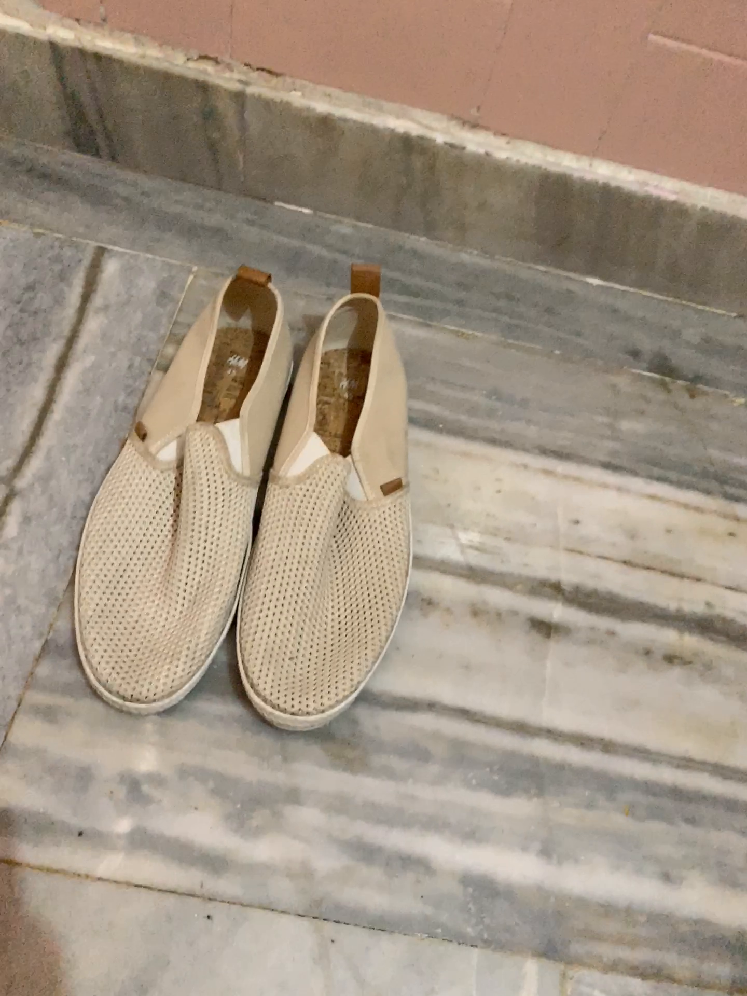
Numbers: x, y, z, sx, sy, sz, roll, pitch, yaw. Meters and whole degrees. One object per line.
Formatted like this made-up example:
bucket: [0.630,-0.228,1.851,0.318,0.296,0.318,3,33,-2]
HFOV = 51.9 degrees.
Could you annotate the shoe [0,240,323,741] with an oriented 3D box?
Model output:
shoe: [-0.124,-0.019,0.497,0.116,0.080,0.310,13,58,-4]

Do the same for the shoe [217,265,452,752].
shoe: [-0.018,-0.006,0.509,0.116,0.080,0.310,9,59,-6]
